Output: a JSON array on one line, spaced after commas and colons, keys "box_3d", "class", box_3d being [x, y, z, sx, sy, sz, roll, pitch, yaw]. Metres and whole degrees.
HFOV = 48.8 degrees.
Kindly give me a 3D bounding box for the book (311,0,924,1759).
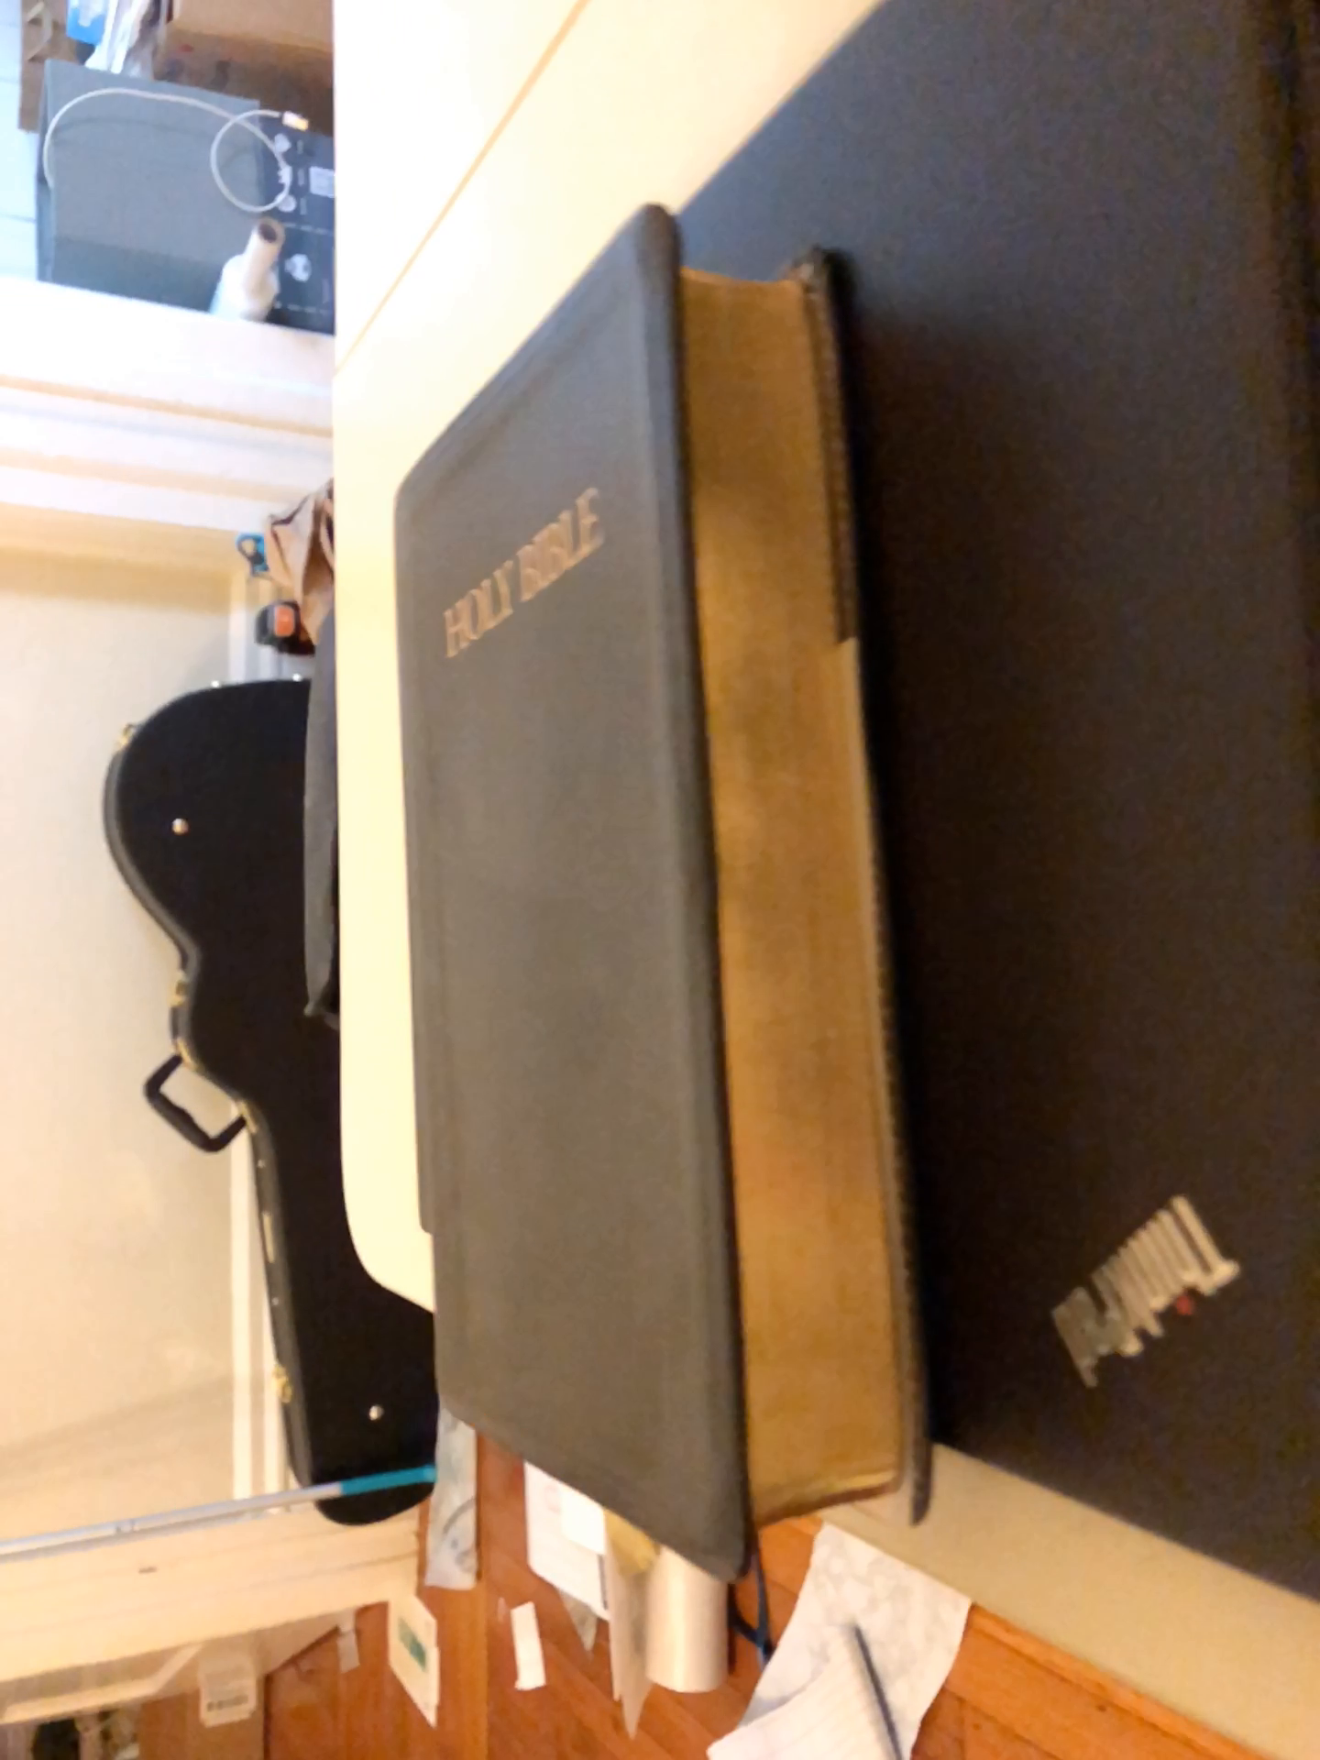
[{"box_3d": [-0.025, 0.000, 0.276, 0.171, 0.040, 0.240, -15, 76, 63], "class": "book"}]
